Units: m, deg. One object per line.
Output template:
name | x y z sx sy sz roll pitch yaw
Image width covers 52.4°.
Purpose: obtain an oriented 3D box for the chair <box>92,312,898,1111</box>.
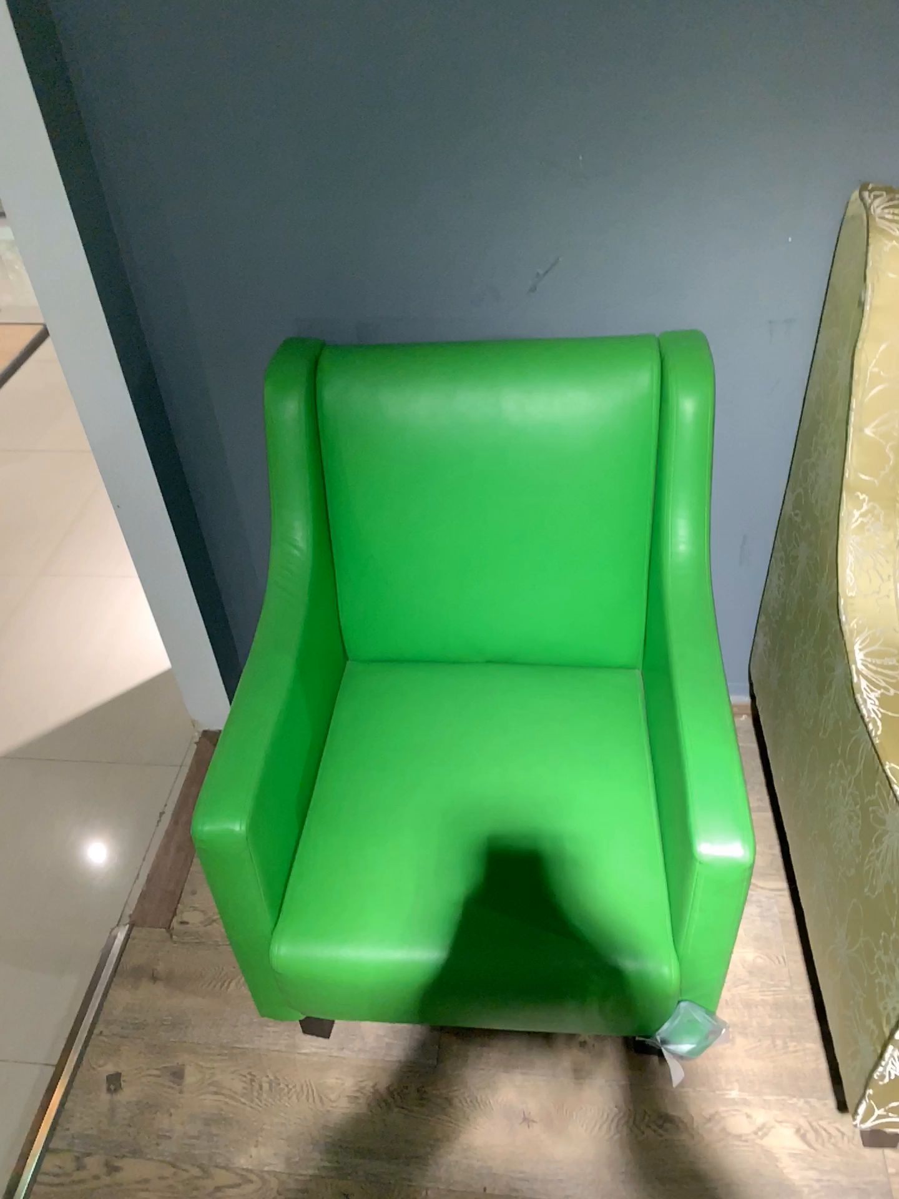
chair | 0.092 0.131 1.340 0.710 0.787 0.813 1 41 6
